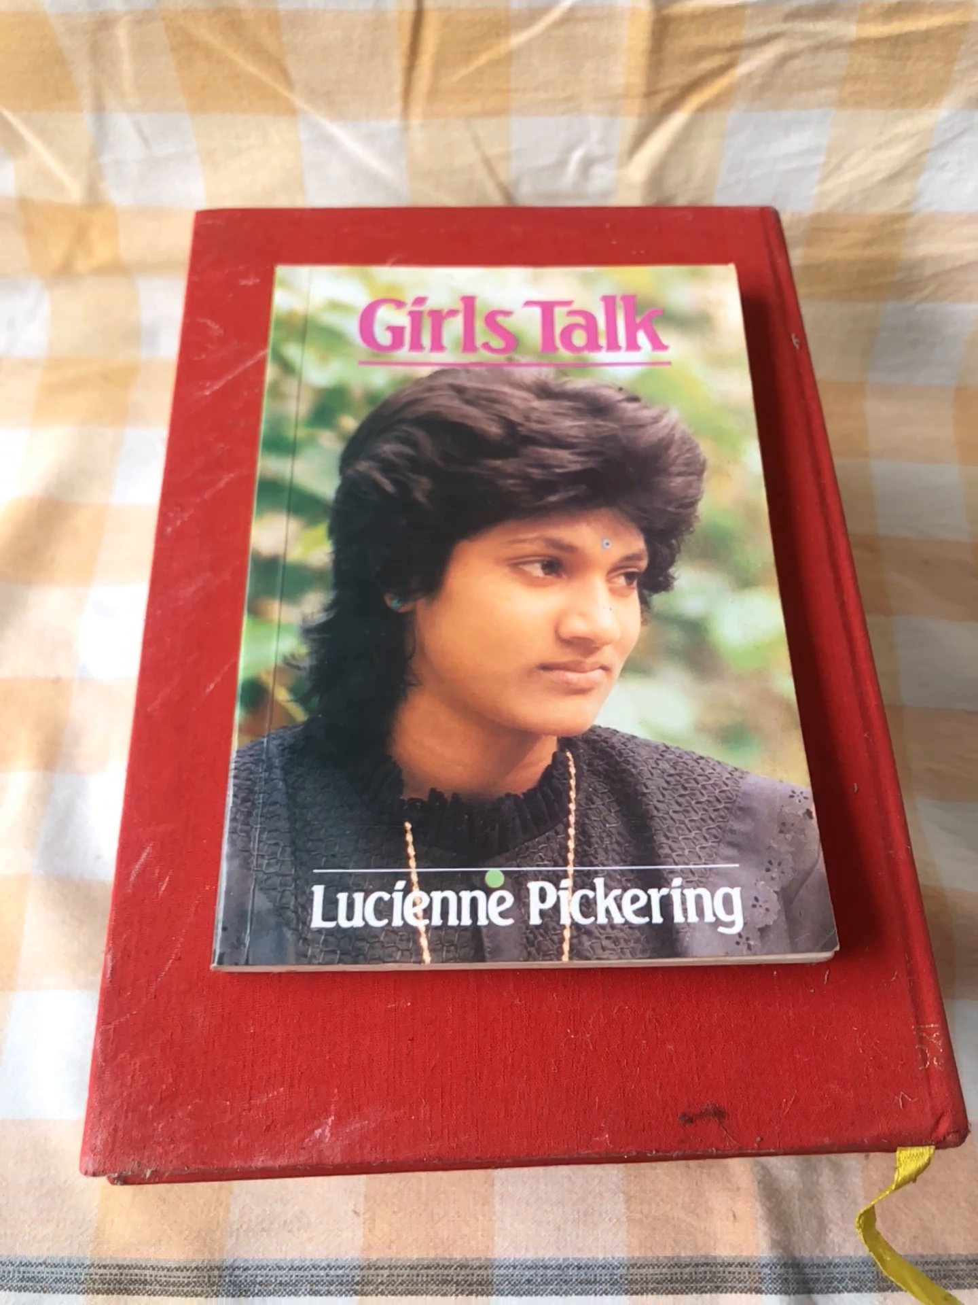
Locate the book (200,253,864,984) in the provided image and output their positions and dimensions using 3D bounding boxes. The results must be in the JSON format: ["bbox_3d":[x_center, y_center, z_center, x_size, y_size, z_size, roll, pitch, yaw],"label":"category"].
[{"bbox_3d":[0.007,-0.018,0.264,0.130,0.025,0.182,-1,65,-1],"label":"book"}]

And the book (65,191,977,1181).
[{"bbox_3d":[0.005,-0.011,0.271,0.174,0.031,0.249,-2,64,-2],"label":"book"}]
